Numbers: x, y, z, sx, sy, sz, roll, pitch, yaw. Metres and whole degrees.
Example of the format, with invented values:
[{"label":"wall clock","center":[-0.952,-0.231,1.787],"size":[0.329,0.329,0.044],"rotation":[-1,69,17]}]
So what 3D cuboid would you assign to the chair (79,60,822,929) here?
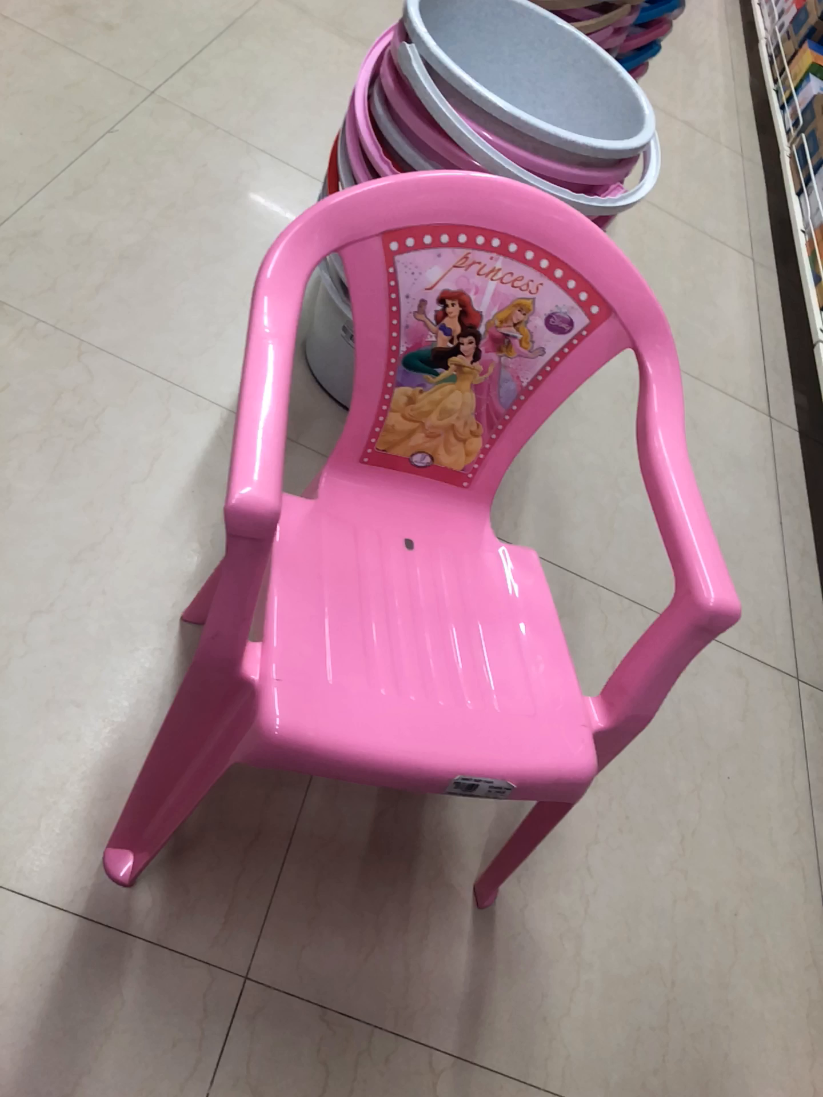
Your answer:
[{"label":"chair","center":[0.005,0.019,0.666],"size":[0.370,0.477,0.352],"rotation":[11,49,-20]}]
